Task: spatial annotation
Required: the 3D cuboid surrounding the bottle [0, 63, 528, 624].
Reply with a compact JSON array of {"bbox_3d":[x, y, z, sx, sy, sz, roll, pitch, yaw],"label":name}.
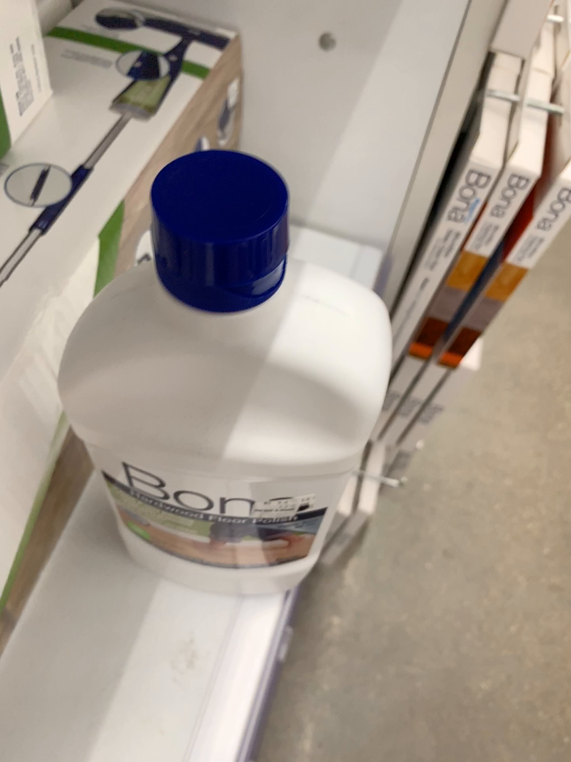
[{"bbox_3d":[-0.021,0.027,0.244,0.120,0.259,0.070,9,56,-1],"label":"bottle"}]
